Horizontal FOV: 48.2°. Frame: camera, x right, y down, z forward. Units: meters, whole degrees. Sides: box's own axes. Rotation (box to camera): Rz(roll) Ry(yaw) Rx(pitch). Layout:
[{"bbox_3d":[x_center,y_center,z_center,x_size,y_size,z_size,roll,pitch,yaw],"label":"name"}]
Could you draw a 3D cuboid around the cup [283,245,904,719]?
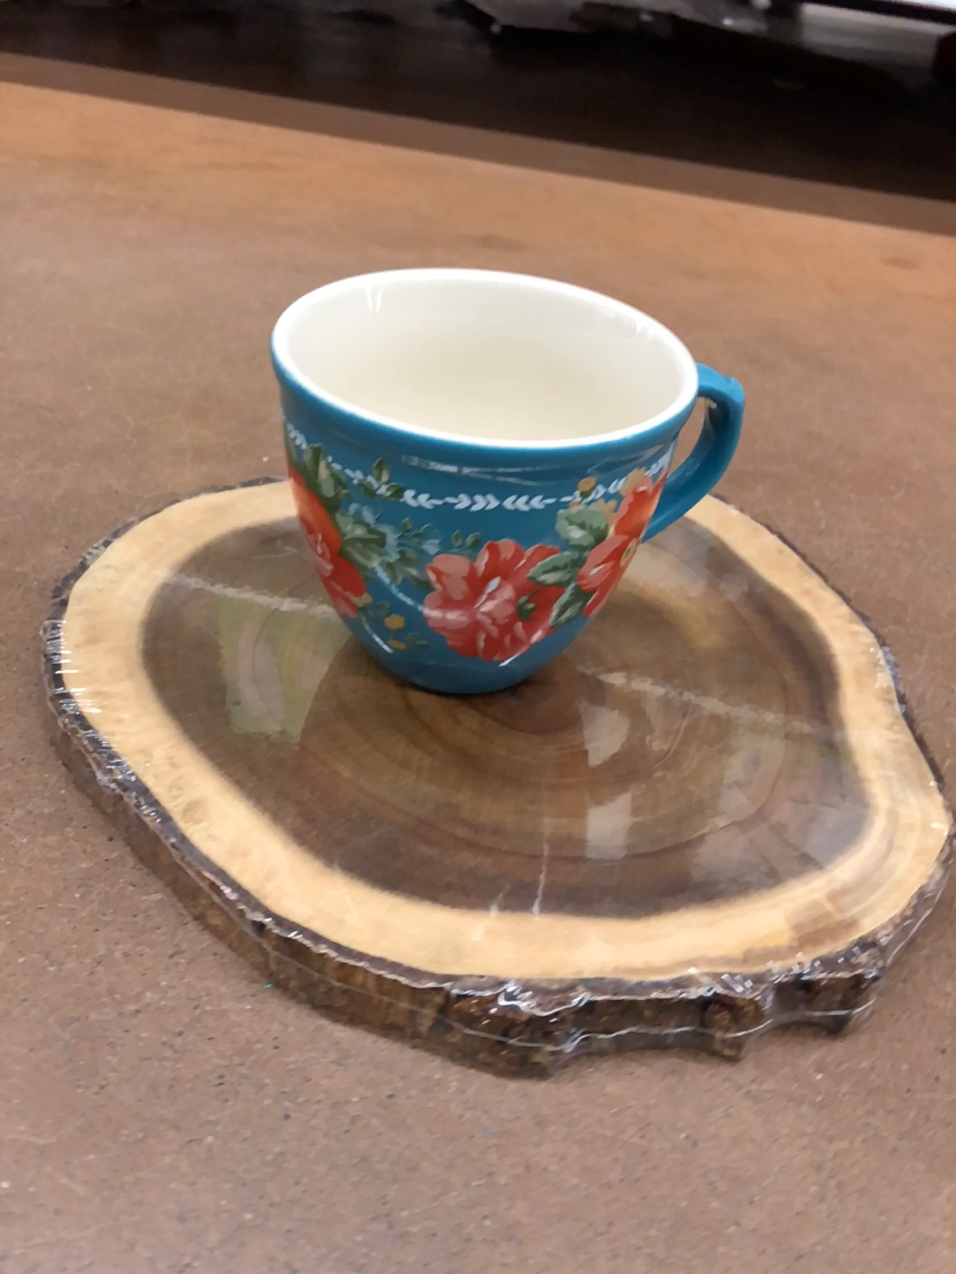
[{"bbox_3d":[0.018,-0.046,0.287,0.130,0.080,0.100,-3,39,-13],"label":"cup"}]
